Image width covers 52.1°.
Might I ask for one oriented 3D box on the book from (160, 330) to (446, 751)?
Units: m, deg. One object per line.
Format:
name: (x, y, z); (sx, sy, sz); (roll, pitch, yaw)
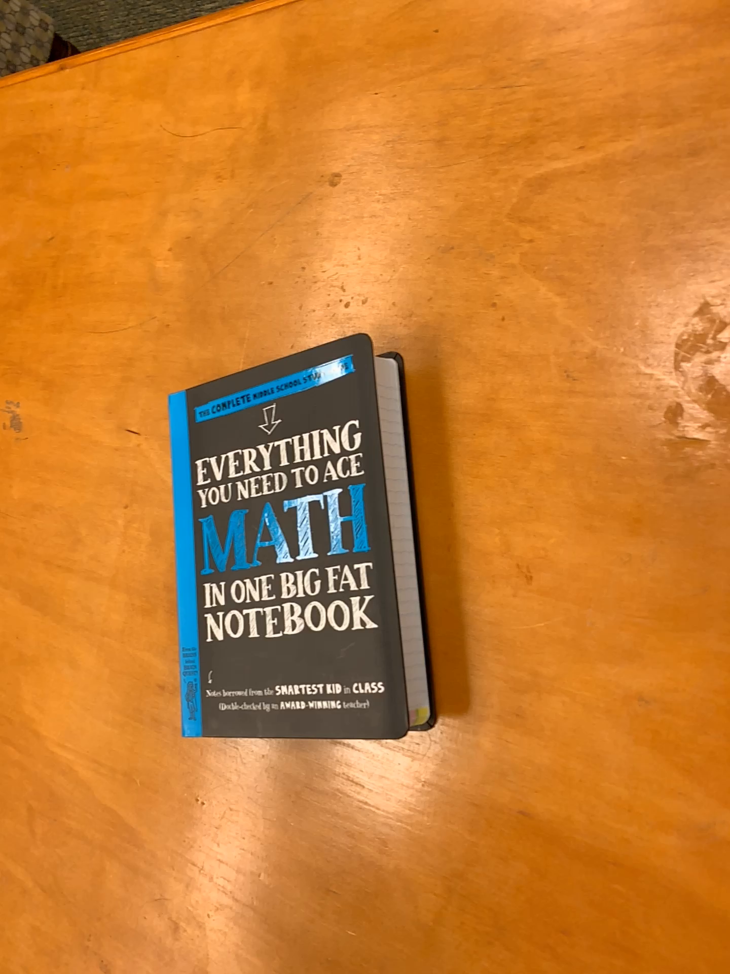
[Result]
book: (-0.044, 0.036, 0.430); (0.161, 0.040, 0.210); (-11, 78, 32)
